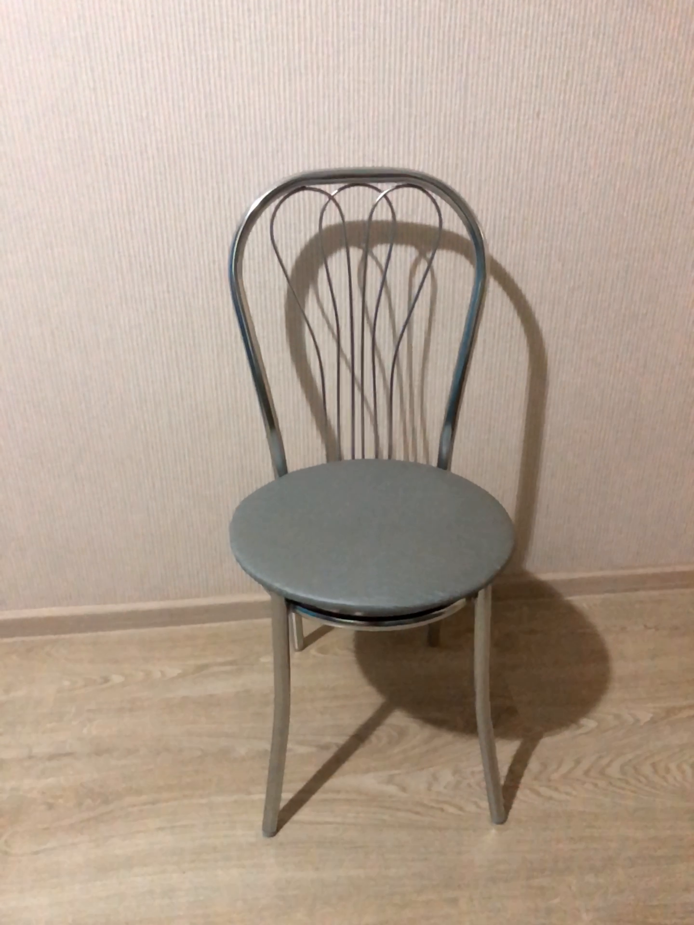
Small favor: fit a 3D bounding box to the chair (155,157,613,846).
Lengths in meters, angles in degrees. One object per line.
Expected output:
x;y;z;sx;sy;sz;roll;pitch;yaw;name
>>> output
0.028;0.043;1.060;0.400;0.825;0.473;-1;28;-2;chair
